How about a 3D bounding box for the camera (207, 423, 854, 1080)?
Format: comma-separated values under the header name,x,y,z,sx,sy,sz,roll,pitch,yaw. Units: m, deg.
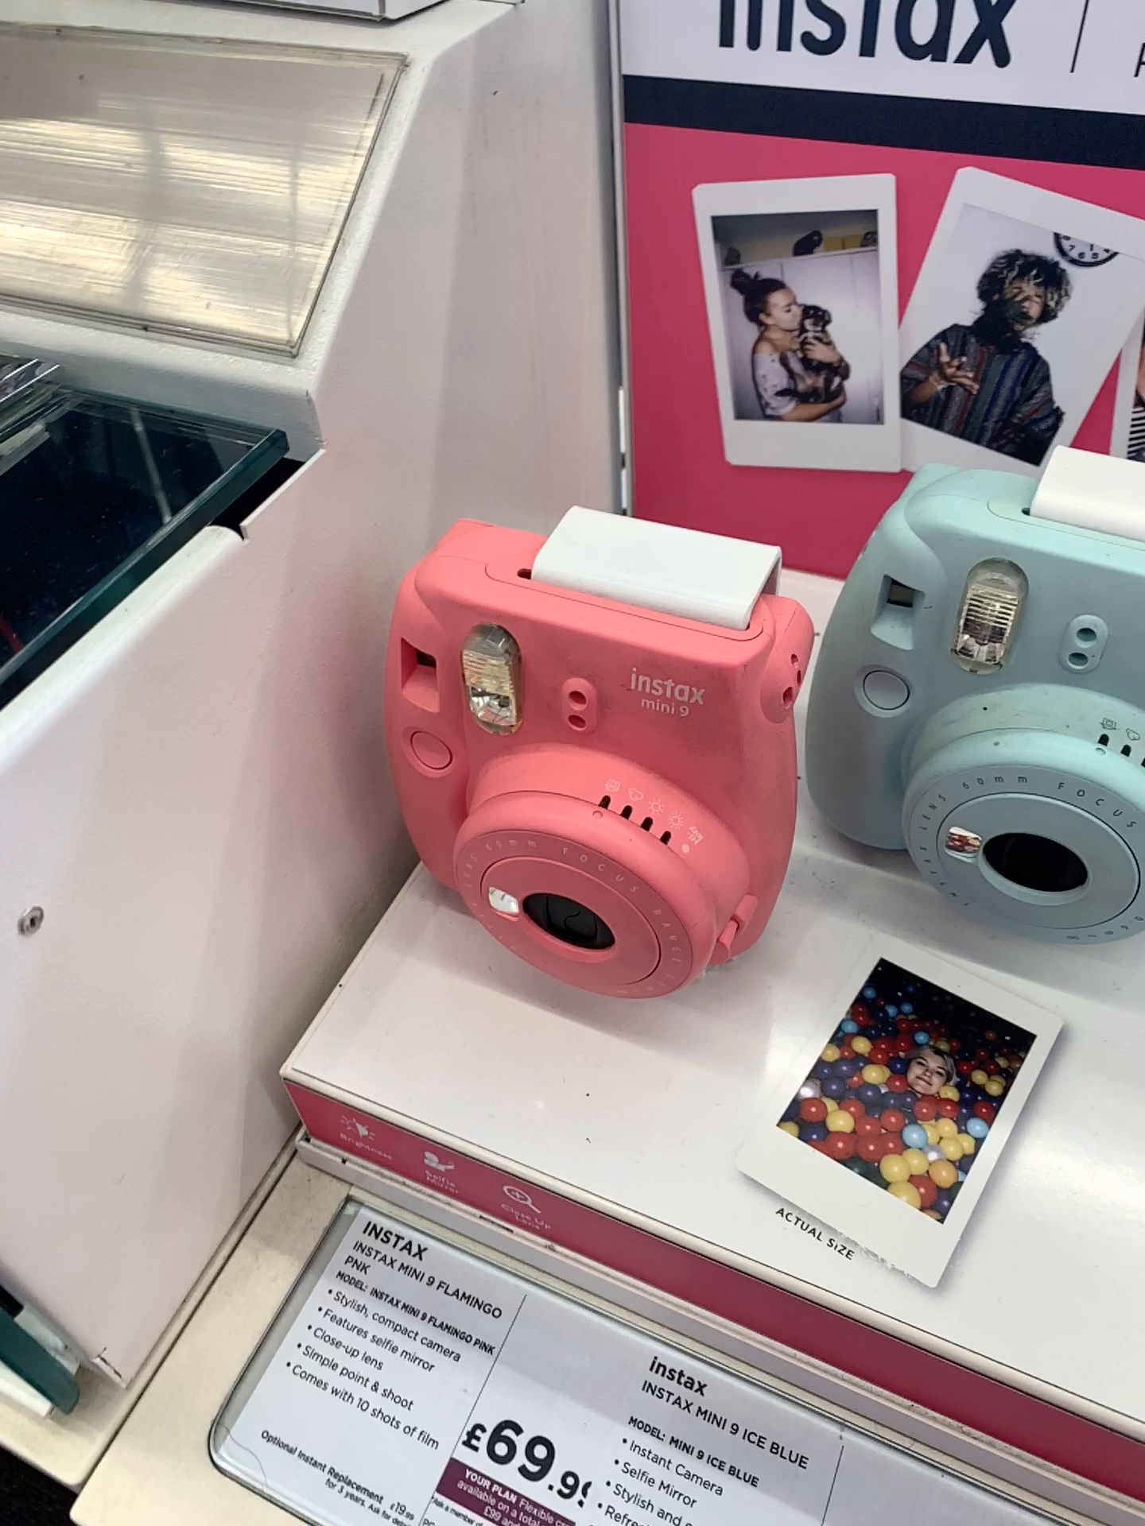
name,x,y,z,sx,sy,sz,roll,pitch,yaw
camera,-0.004,-0.003,0.303,0.120,0.119,0.081,16,50,19
